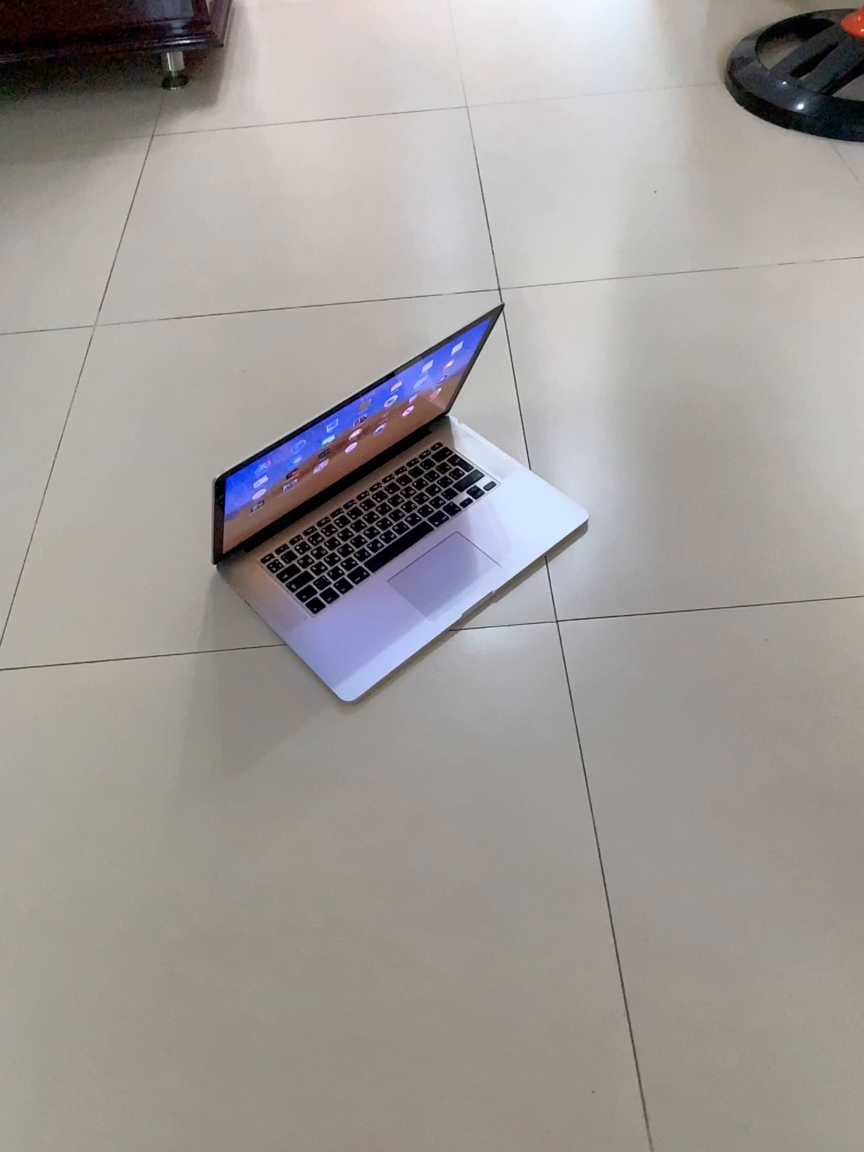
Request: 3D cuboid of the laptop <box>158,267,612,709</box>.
[{"bbox_3d":[-0.035,-0.103,0.910,0.360,0.207,0.242,-36,57,-22],"label":"laptop"}]
